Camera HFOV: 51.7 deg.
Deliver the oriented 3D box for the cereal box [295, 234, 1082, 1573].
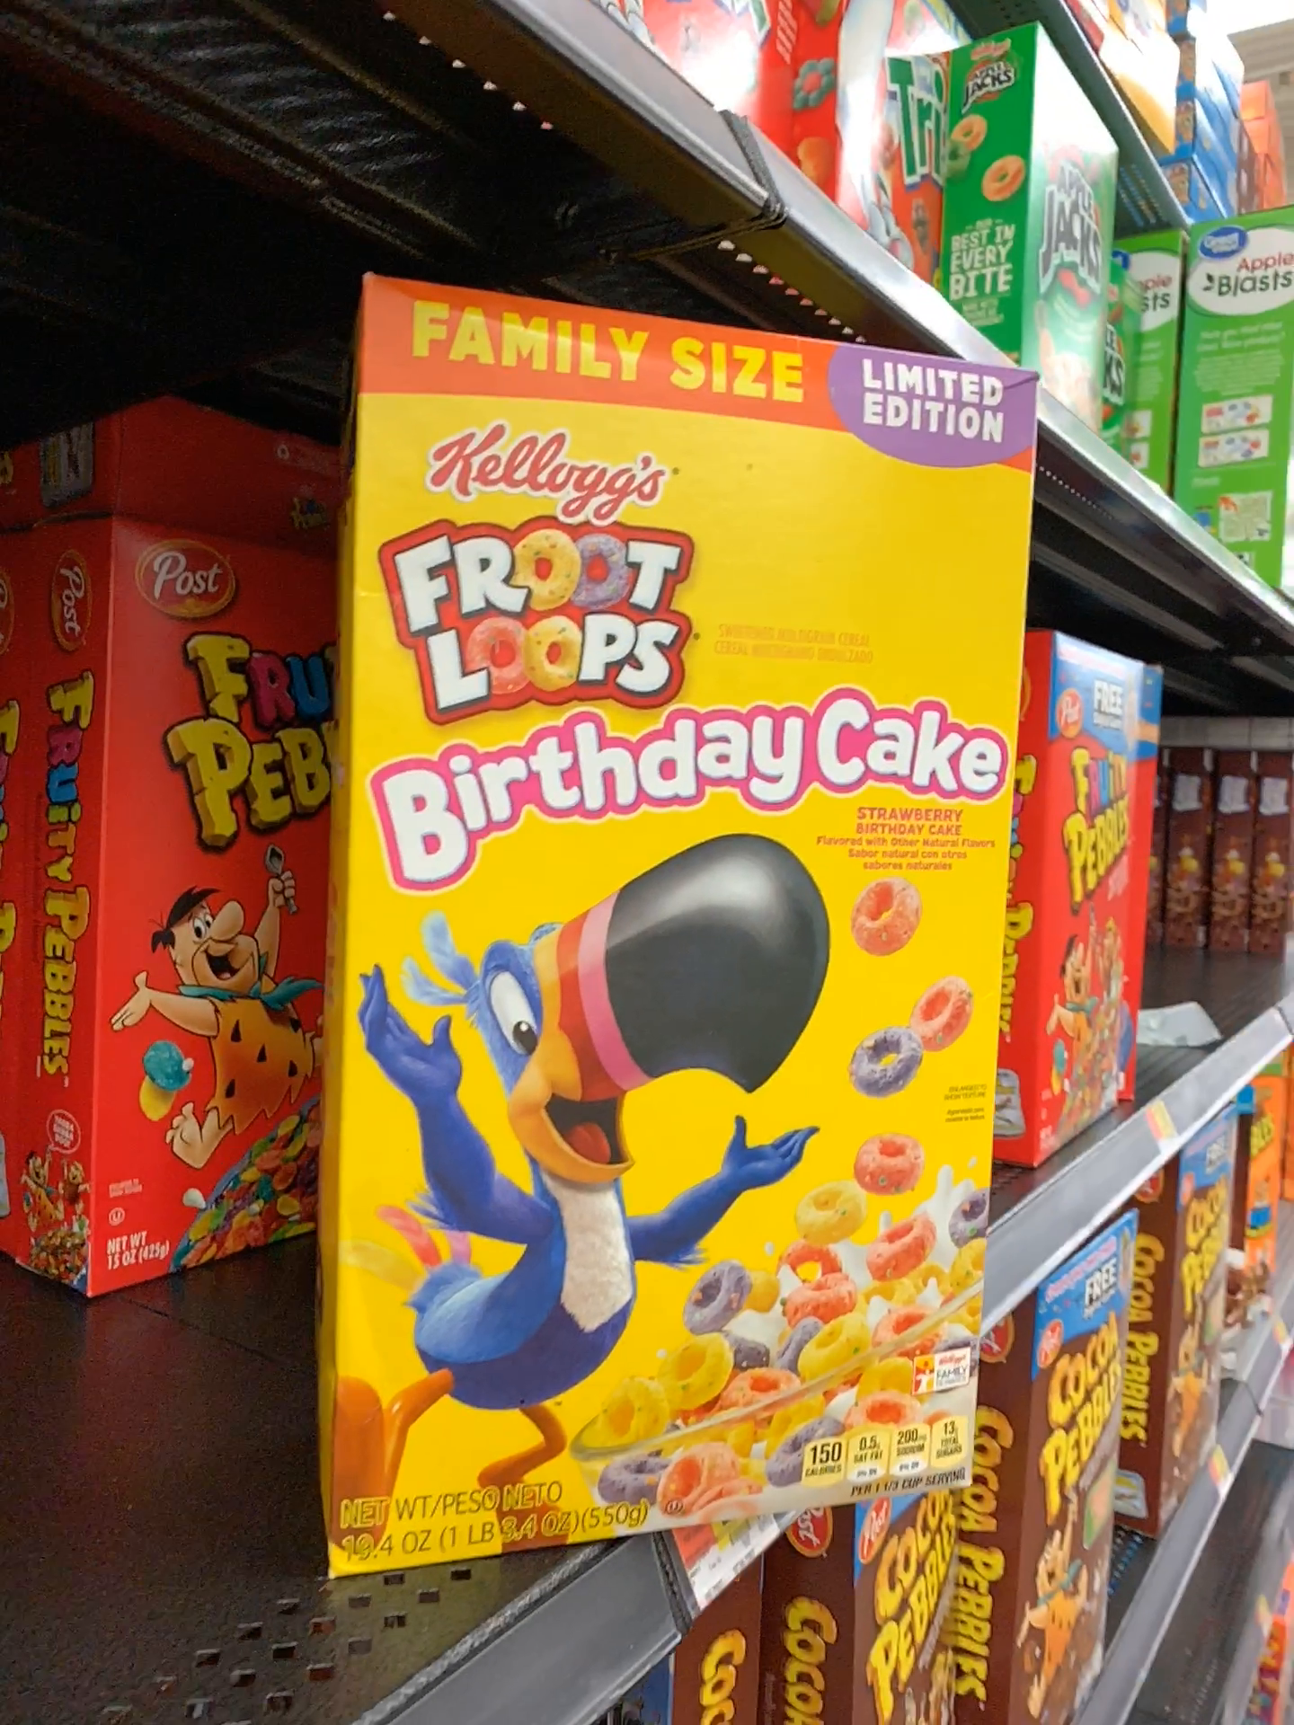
[{"bbox_3d":[0.008,0.014,0.397,0.200,0.330,0.080,2,3,-19],"label":"cereal box"}]
